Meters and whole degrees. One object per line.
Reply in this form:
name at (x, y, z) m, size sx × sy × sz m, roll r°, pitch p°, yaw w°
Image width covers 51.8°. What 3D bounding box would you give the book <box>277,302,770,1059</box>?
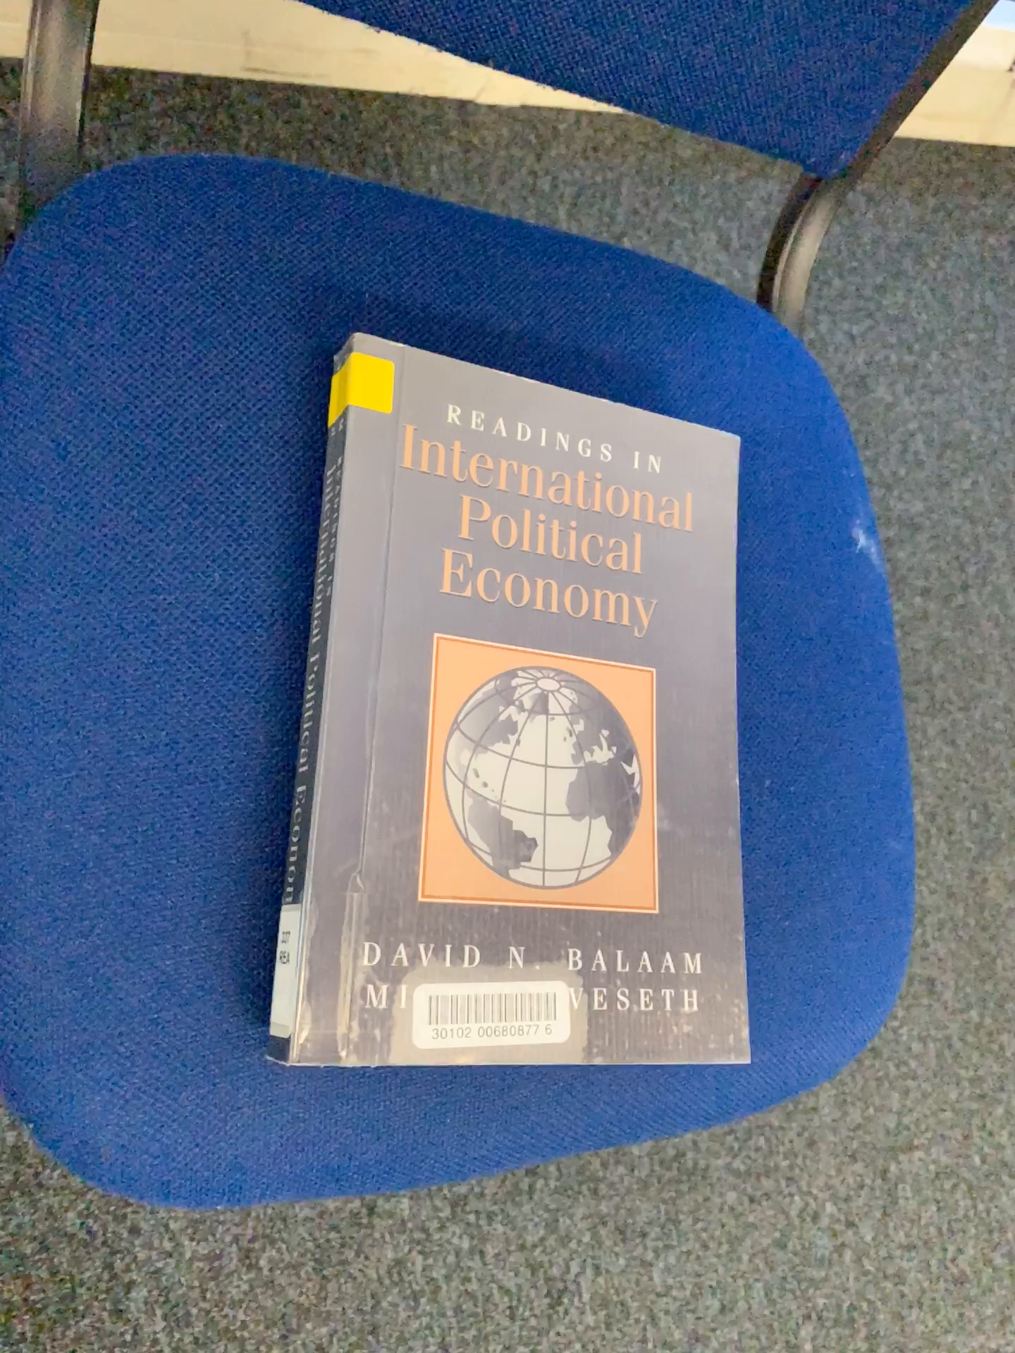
book at (0.013, 0.004, 0.340) m, size 0.150 × 0.030 × 0.220 m, roll 9°, pitch 74°, yaw -25°
